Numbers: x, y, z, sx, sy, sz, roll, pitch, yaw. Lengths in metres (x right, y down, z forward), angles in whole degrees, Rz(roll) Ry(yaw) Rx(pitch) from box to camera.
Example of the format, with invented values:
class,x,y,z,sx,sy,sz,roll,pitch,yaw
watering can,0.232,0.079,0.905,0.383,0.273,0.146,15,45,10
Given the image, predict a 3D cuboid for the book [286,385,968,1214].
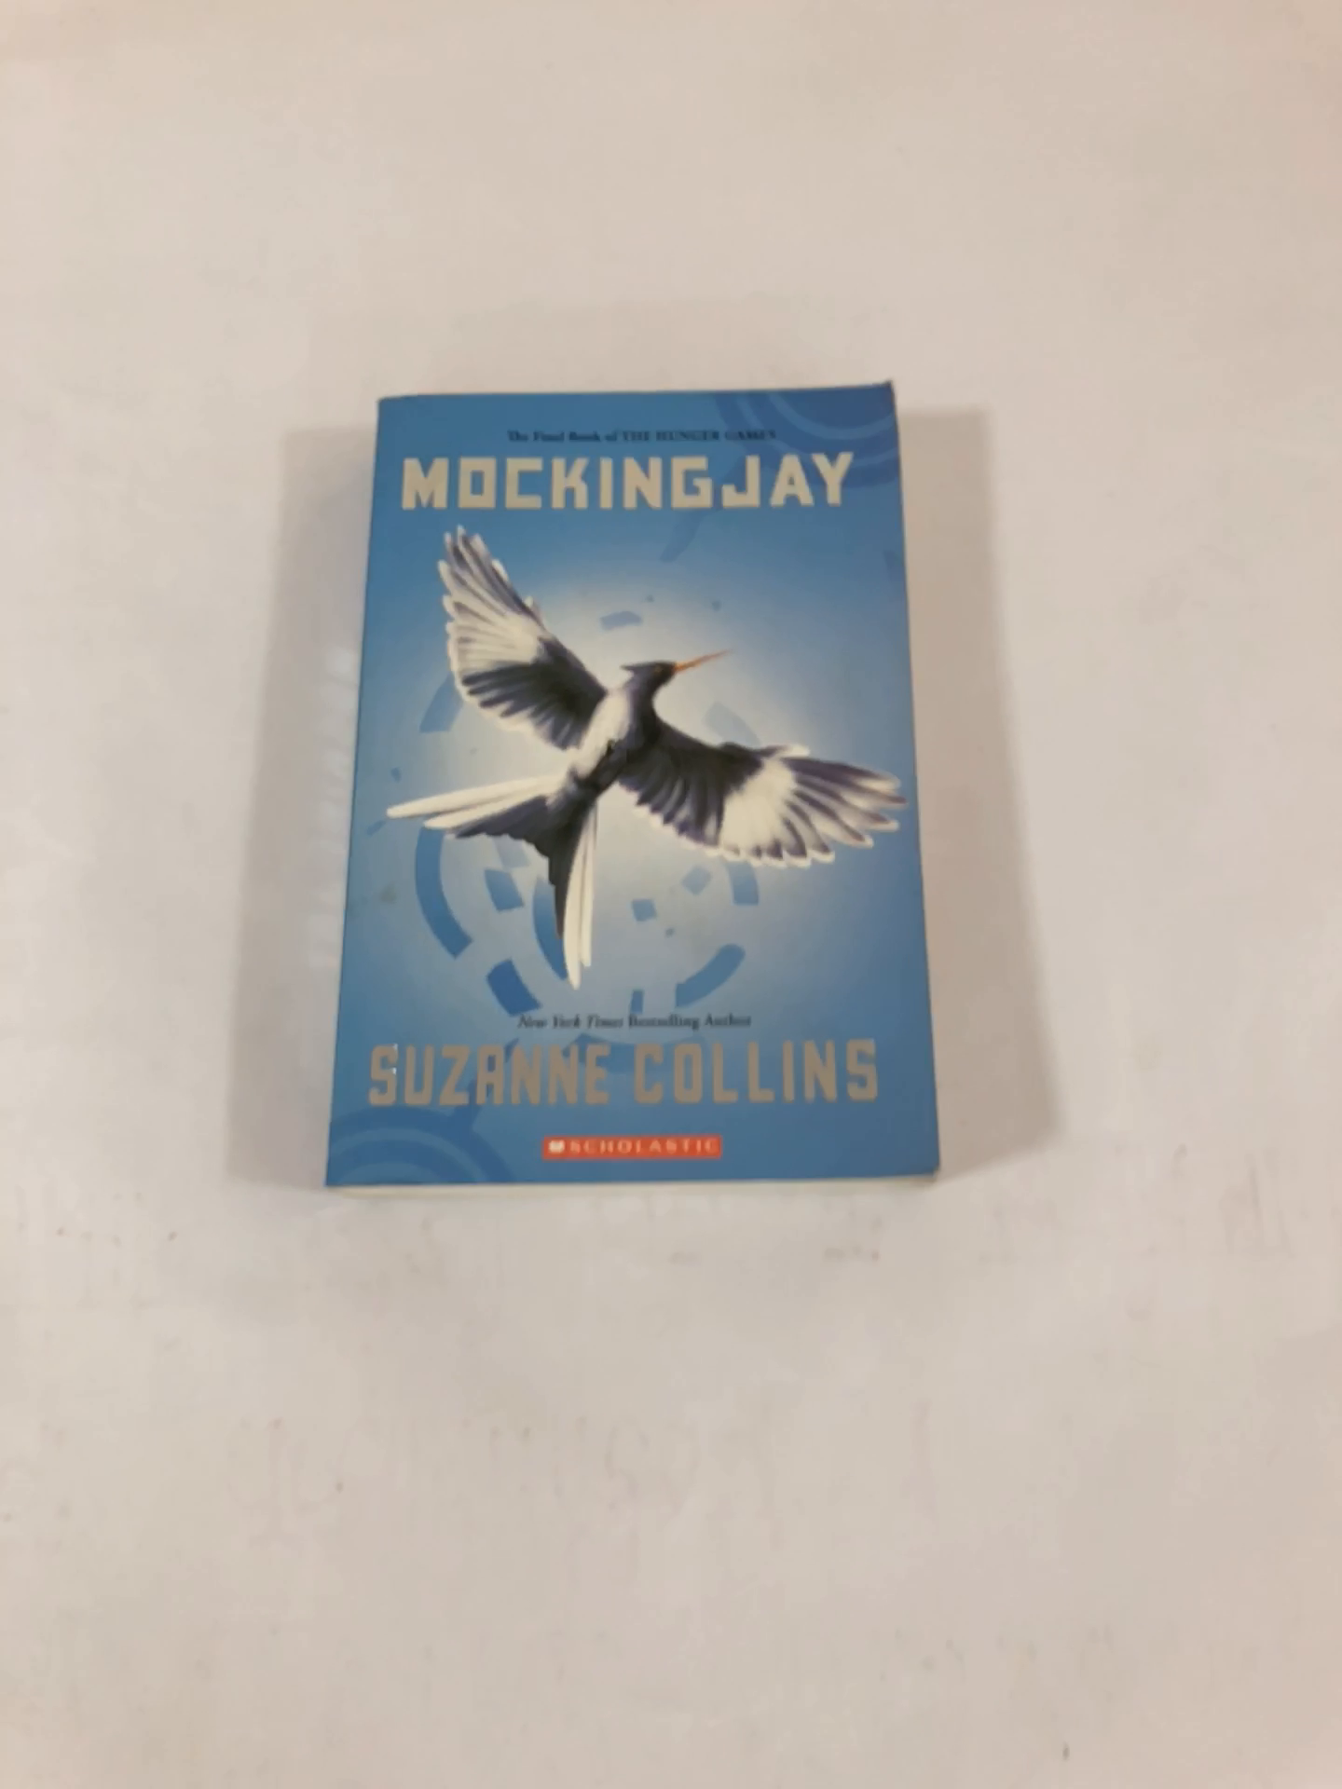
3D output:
class,x,y,z,sx,sy,sz,roll,pitch,yaw
book,-0.010,-0.026,0.346,0.138,0.029,0.190,-1,73,0
